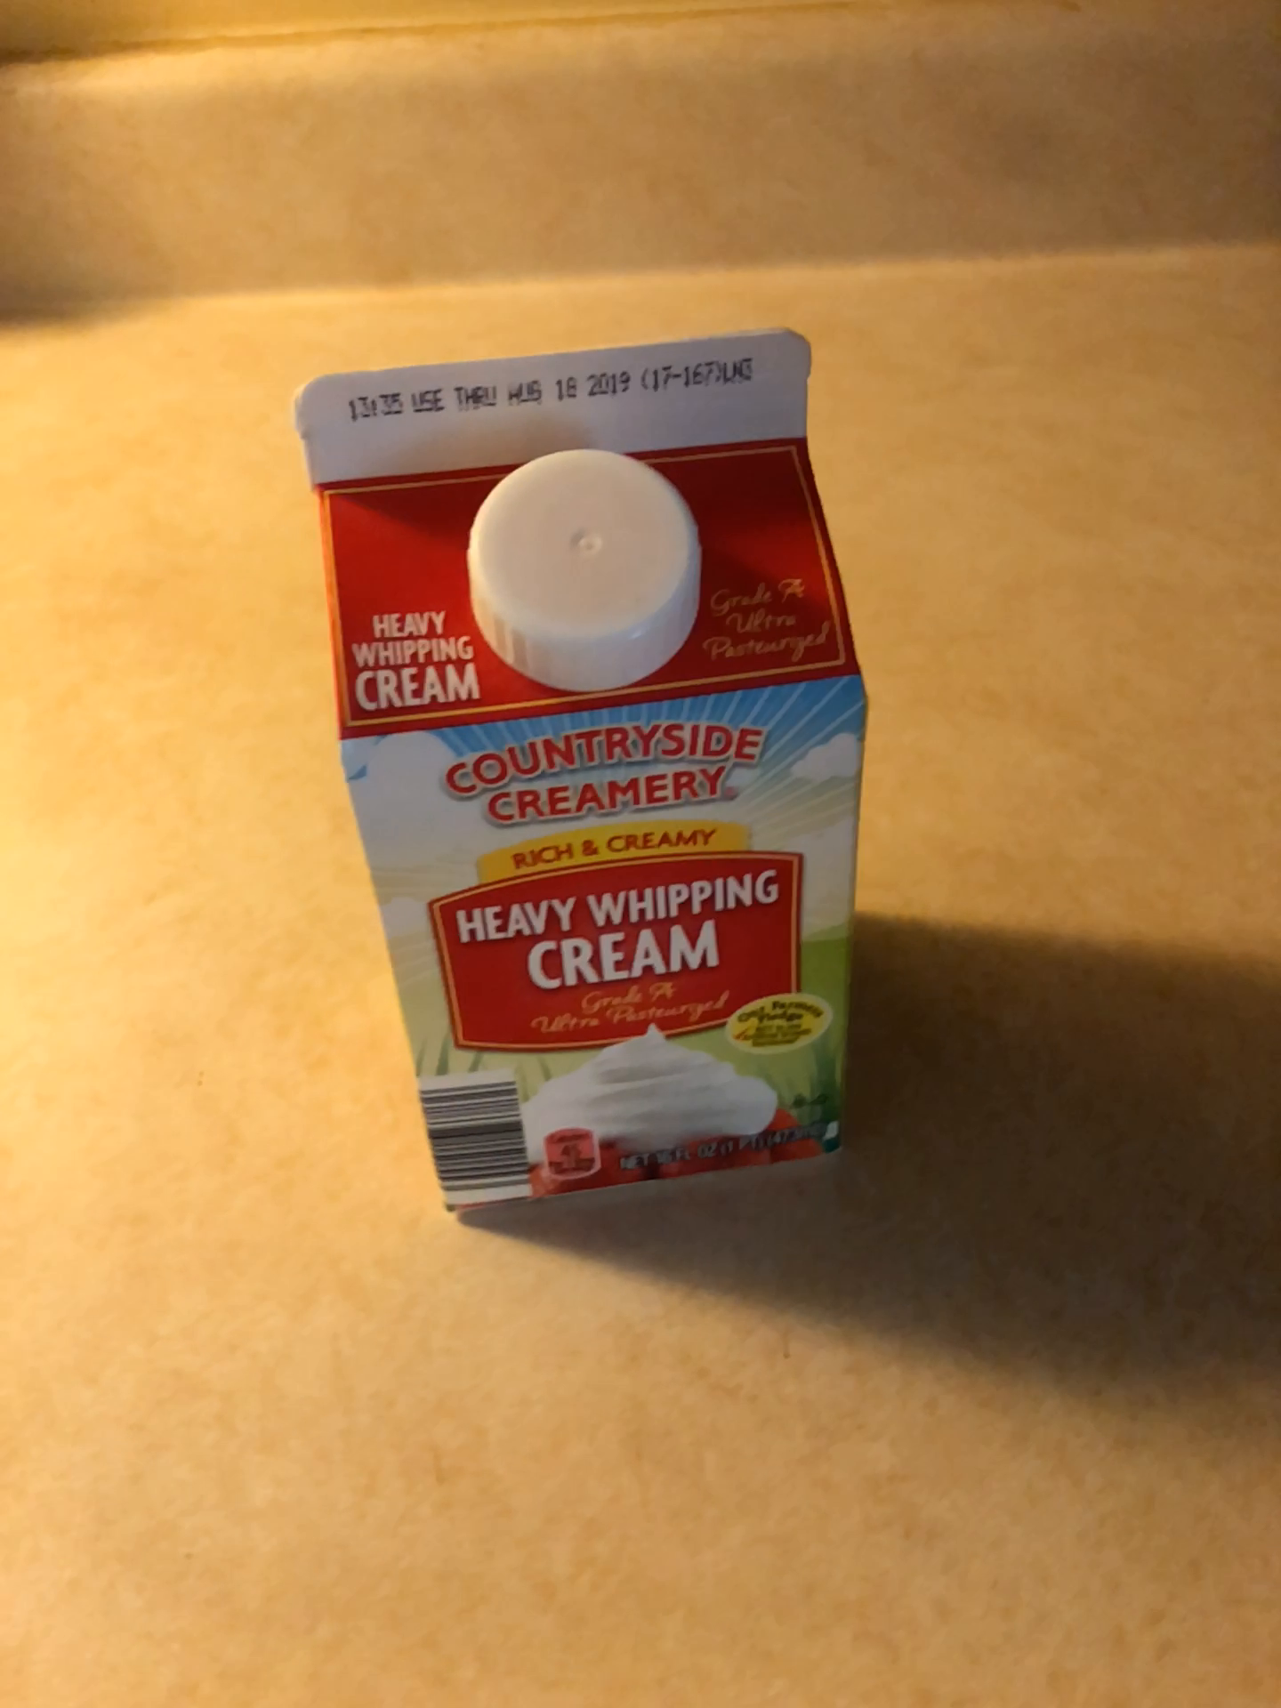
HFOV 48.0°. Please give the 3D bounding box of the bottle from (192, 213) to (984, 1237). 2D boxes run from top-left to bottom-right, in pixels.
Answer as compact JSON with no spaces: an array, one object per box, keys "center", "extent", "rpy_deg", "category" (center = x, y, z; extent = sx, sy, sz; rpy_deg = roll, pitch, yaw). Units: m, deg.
[{"center":[-0.008,-0.021,0.237],"extent":[0.090,0.130,0.090],"rpy_deg":[-3,38,2],"category":"bottle"}]
